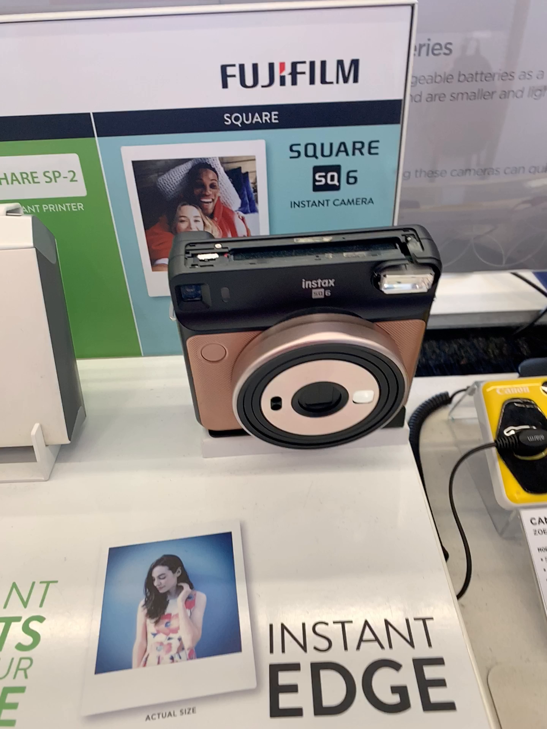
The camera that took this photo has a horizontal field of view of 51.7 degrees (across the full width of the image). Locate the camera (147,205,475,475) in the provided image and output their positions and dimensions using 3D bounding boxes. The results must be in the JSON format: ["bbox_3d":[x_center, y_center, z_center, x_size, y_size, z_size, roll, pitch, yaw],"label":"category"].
[{"bbox_3d":[0.013,-0.008,0.286,0.130,0.119,0.061,-4,47,-3],"label":"camera"}]
